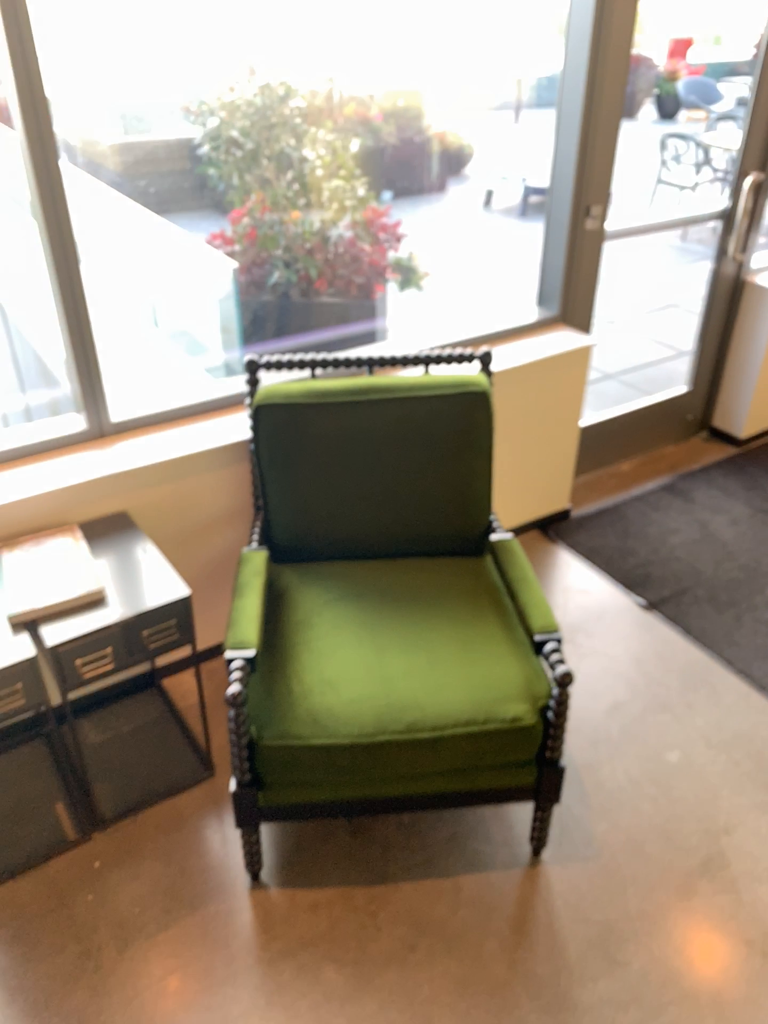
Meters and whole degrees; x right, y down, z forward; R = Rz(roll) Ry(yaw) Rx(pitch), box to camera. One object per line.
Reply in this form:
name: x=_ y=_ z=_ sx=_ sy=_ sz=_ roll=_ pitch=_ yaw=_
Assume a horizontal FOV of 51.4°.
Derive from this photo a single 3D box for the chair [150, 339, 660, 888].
chair: x=0.006 y=0.195 z=1.998 sx=0.870 sy=0.924 sz=0.946 roll=-3 pitch=33 yaw=-4
